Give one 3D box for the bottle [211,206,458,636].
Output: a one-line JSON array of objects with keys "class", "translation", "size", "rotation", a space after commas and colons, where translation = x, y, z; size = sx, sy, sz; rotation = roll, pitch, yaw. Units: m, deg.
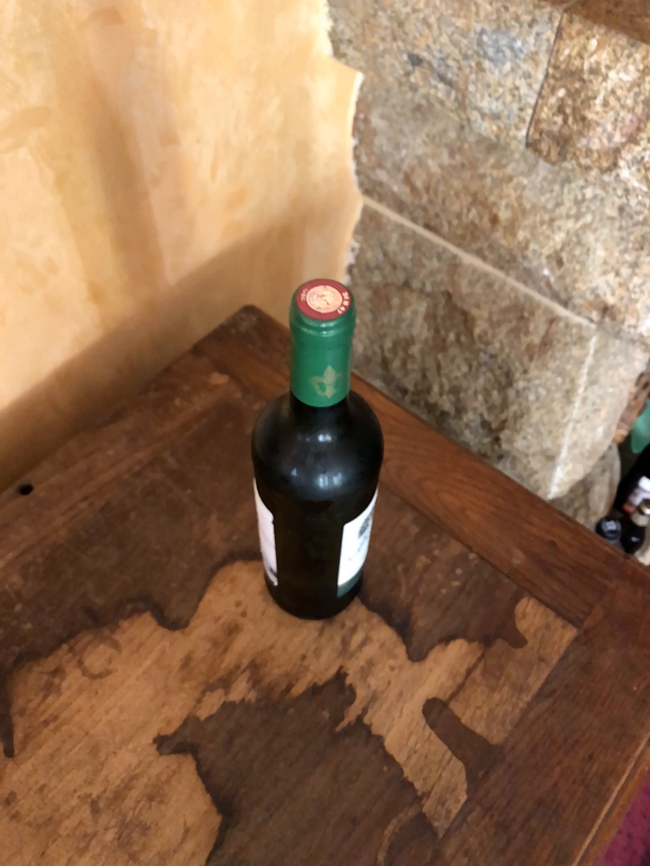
[{"class": "bottle", "translation": [0.002, 0.018, 0.406], "size": [0.090, 0.269, 0.090], "rotation": [1, 55, -2]}]
